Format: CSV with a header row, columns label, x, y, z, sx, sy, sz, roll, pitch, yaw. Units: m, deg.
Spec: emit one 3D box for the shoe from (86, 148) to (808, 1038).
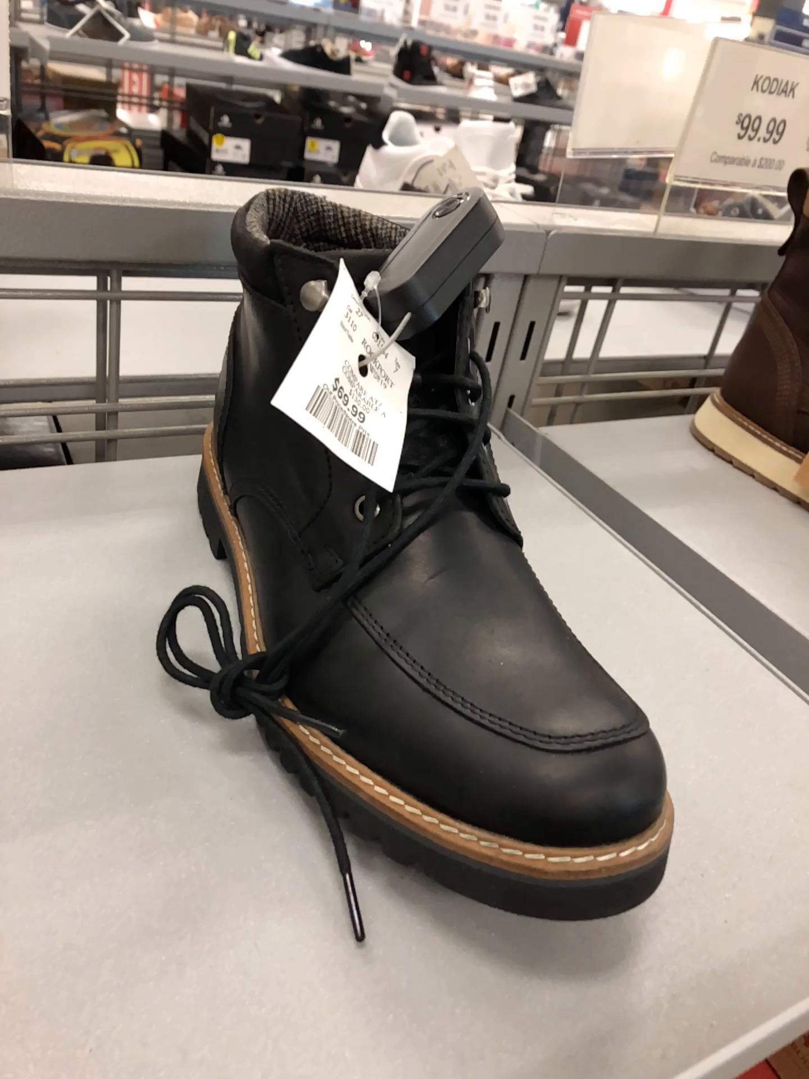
label,x,y,z,sx,sy,sz,roll,pitch,yaw
shoe,-0.012,-0.017,0.316,0.120,0.139,0.282,-9,41,-32
